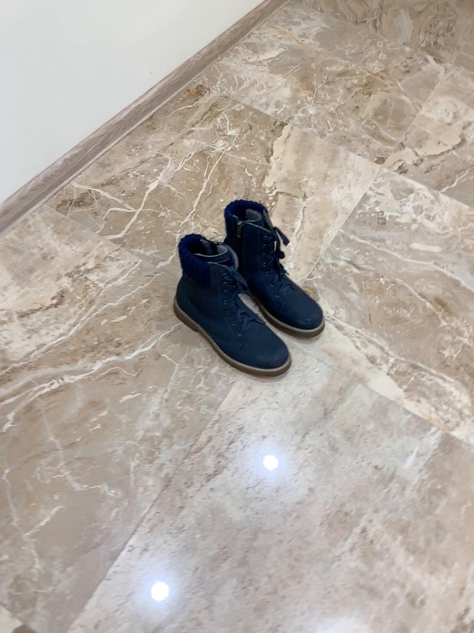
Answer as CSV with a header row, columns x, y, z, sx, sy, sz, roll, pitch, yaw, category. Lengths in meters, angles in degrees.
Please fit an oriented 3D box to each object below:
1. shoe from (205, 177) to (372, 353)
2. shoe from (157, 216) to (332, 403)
x,y,z,sx,sy,sz,roll,pitch,yaw,category
0.078,-0.090,0.885,0.260,0.199,0.101,36,61,16,shoe
0.000,-0.007,0.822,0.260,0.199,0.101,36,61,16,shoe
